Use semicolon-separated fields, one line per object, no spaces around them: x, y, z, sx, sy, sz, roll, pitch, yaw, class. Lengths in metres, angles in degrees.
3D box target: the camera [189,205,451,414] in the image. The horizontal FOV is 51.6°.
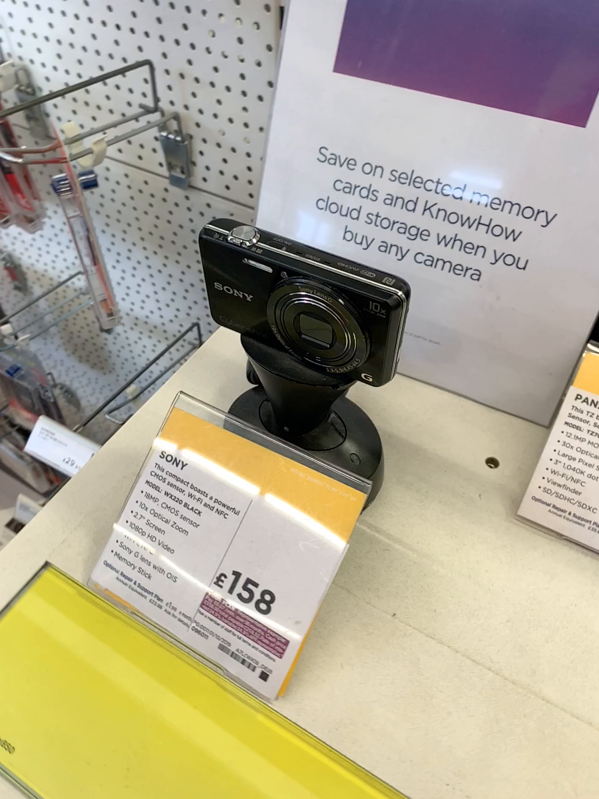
0.006;-0.039;0.261;0.100;0.050;0.030;23;53;19;camera
